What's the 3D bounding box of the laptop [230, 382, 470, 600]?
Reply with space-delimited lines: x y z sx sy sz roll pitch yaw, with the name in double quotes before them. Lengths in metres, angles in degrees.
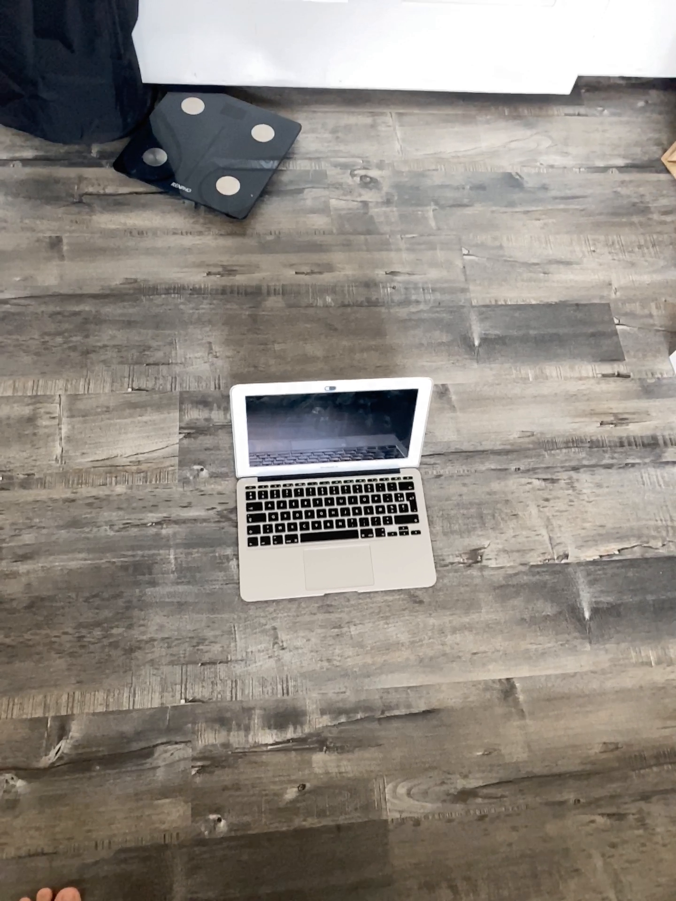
"laptop" 0.002 0.057 0.978 0.290 0.160 0.255 -3 64 -7
